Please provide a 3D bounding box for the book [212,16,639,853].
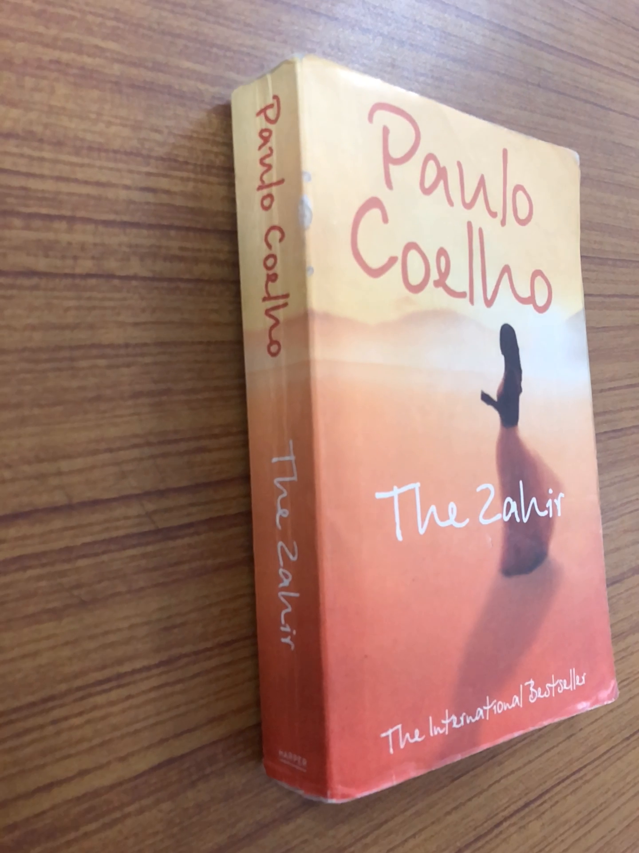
[{"bbox_3d":[0.036,0.001,0.204,0.120,0.040,0.180,1,84,-38],"label":"book"}]
